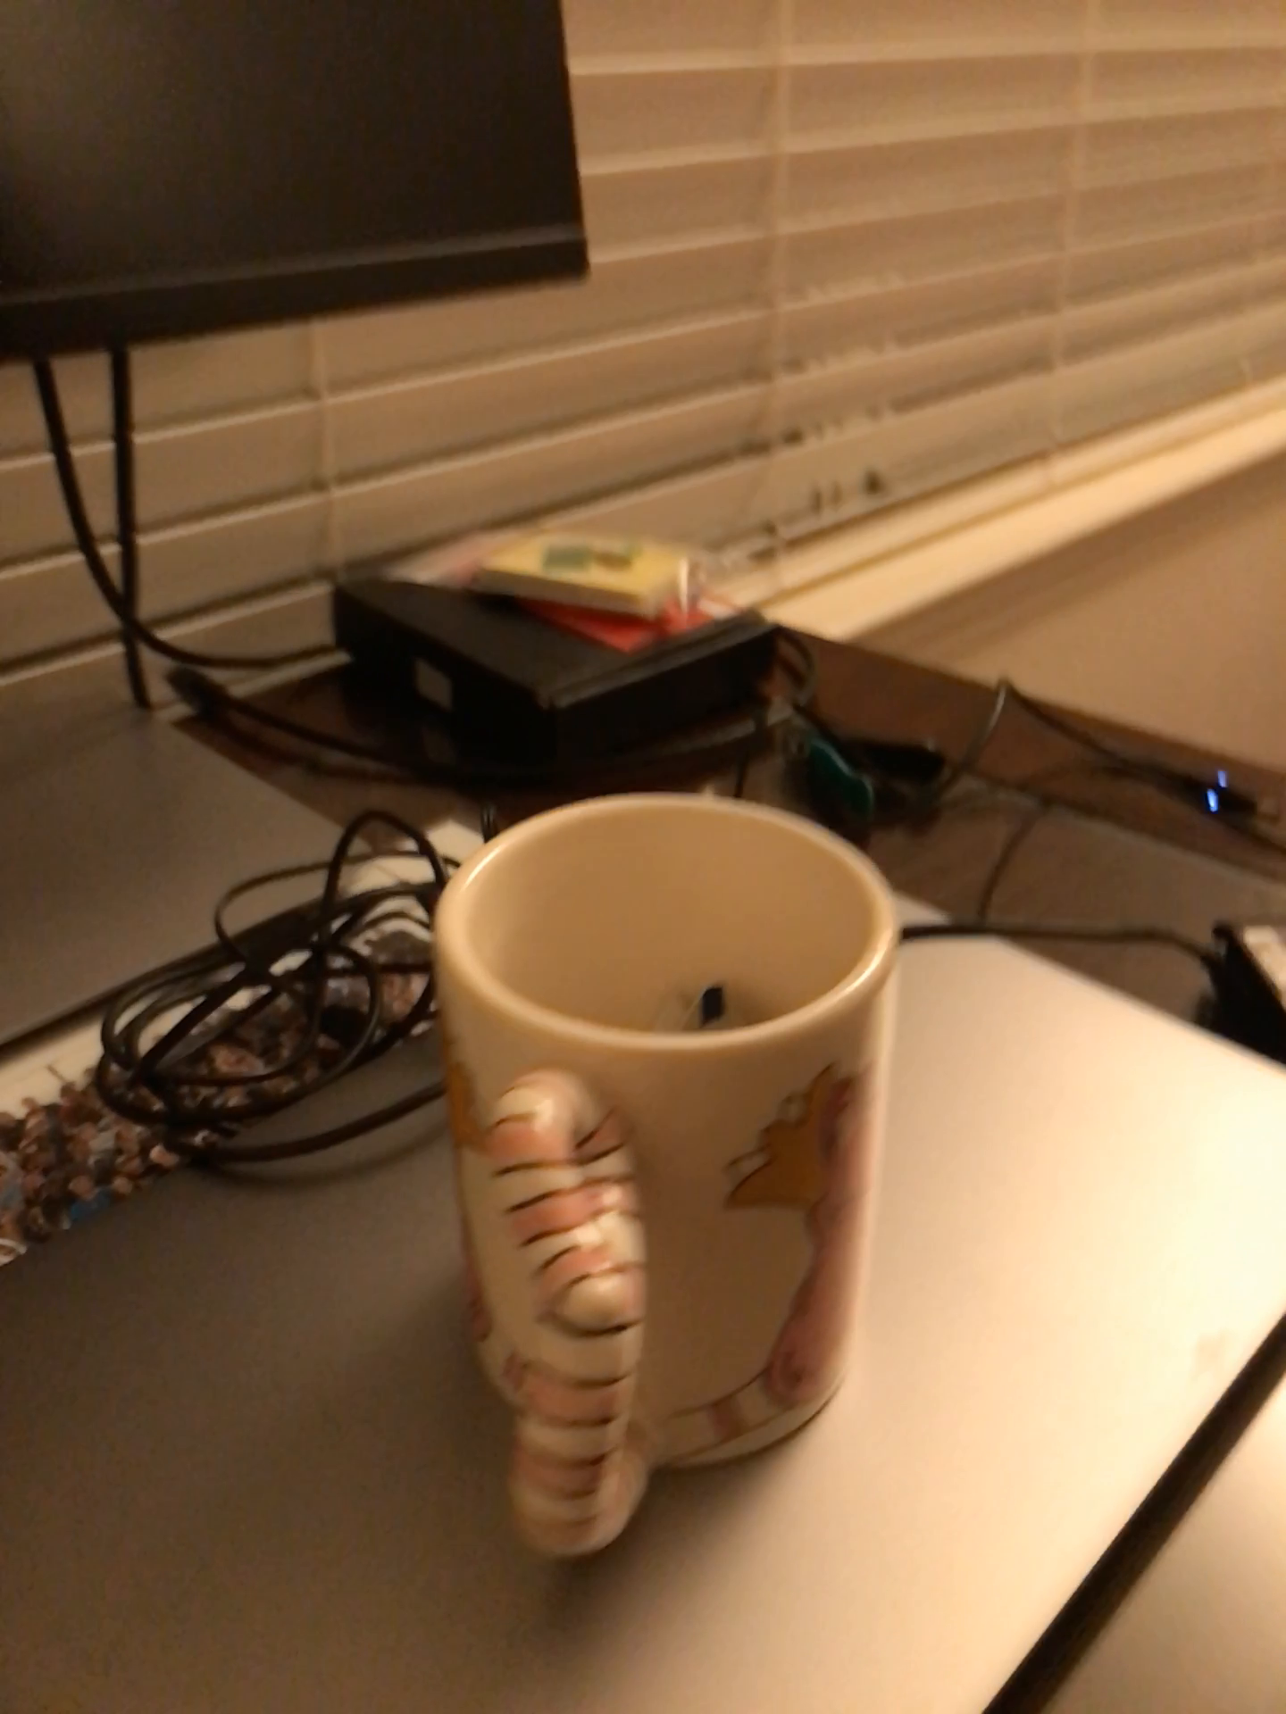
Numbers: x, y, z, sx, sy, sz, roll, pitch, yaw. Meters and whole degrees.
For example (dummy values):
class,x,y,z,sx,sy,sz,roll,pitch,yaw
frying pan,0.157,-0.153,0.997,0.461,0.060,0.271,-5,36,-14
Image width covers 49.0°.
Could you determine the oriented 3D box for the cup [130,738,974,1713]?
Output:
class,x,y,z,sx,sy,sz,roll,pitch,yaw
cup,-0.002,0.057,0.242,0.080,0.099,0.131,11,32,21
